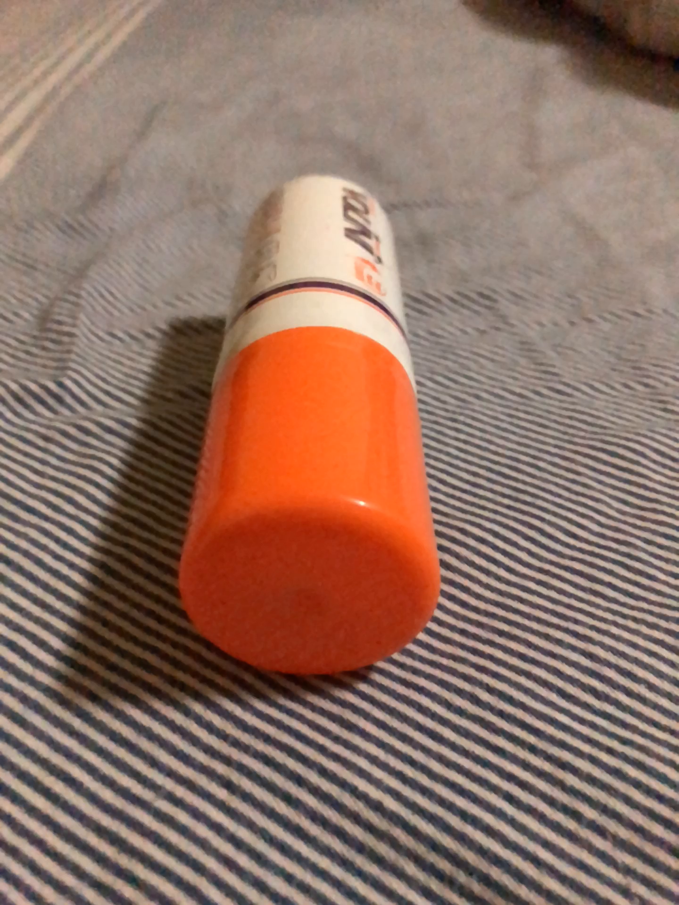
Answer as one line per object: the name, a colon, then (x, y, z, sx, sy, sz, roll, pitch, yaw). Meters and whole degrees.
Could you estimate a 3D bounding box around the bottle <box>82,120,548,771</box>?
bottle: (-0.005, -0.014, 0.140, 0.040, 0.040, 0.120, 27, 33, -20)
